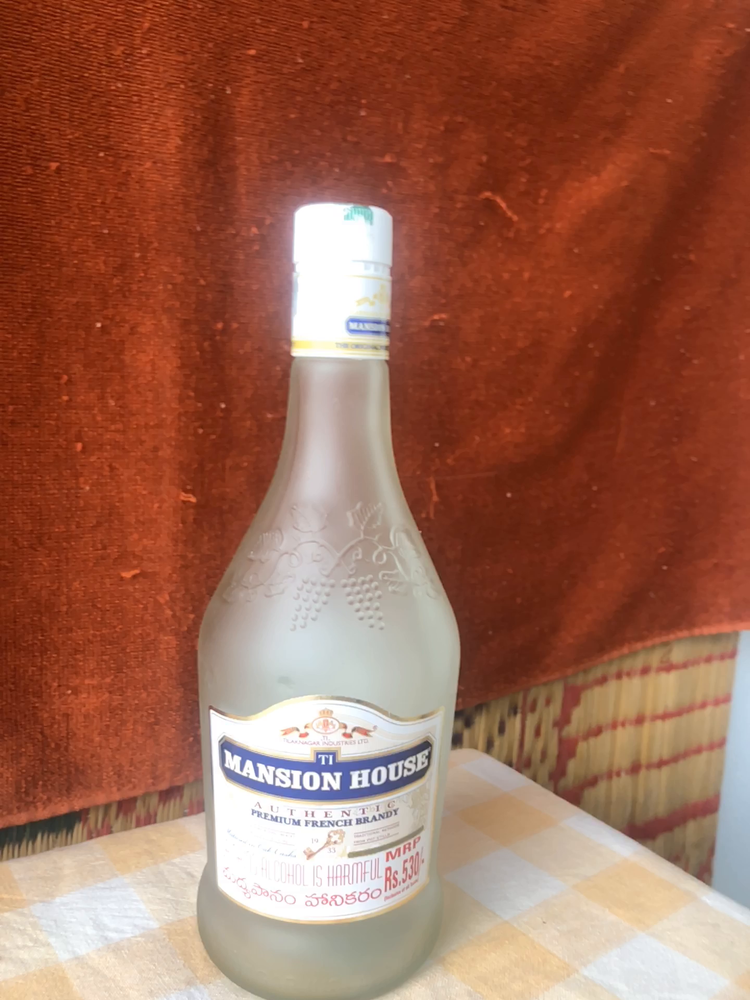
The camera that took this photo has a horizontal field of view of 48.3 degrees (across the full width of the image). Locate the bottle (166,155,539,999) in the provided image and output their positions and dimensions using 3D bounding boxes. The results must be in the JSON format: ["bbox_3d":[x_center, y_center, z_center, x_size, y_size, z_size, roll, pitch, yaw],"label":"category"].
[{"bbox_3d":[-0.010,0.027,0.287,0.090,0.249,0.090,4,8,-1],"label":"bottle"}]
